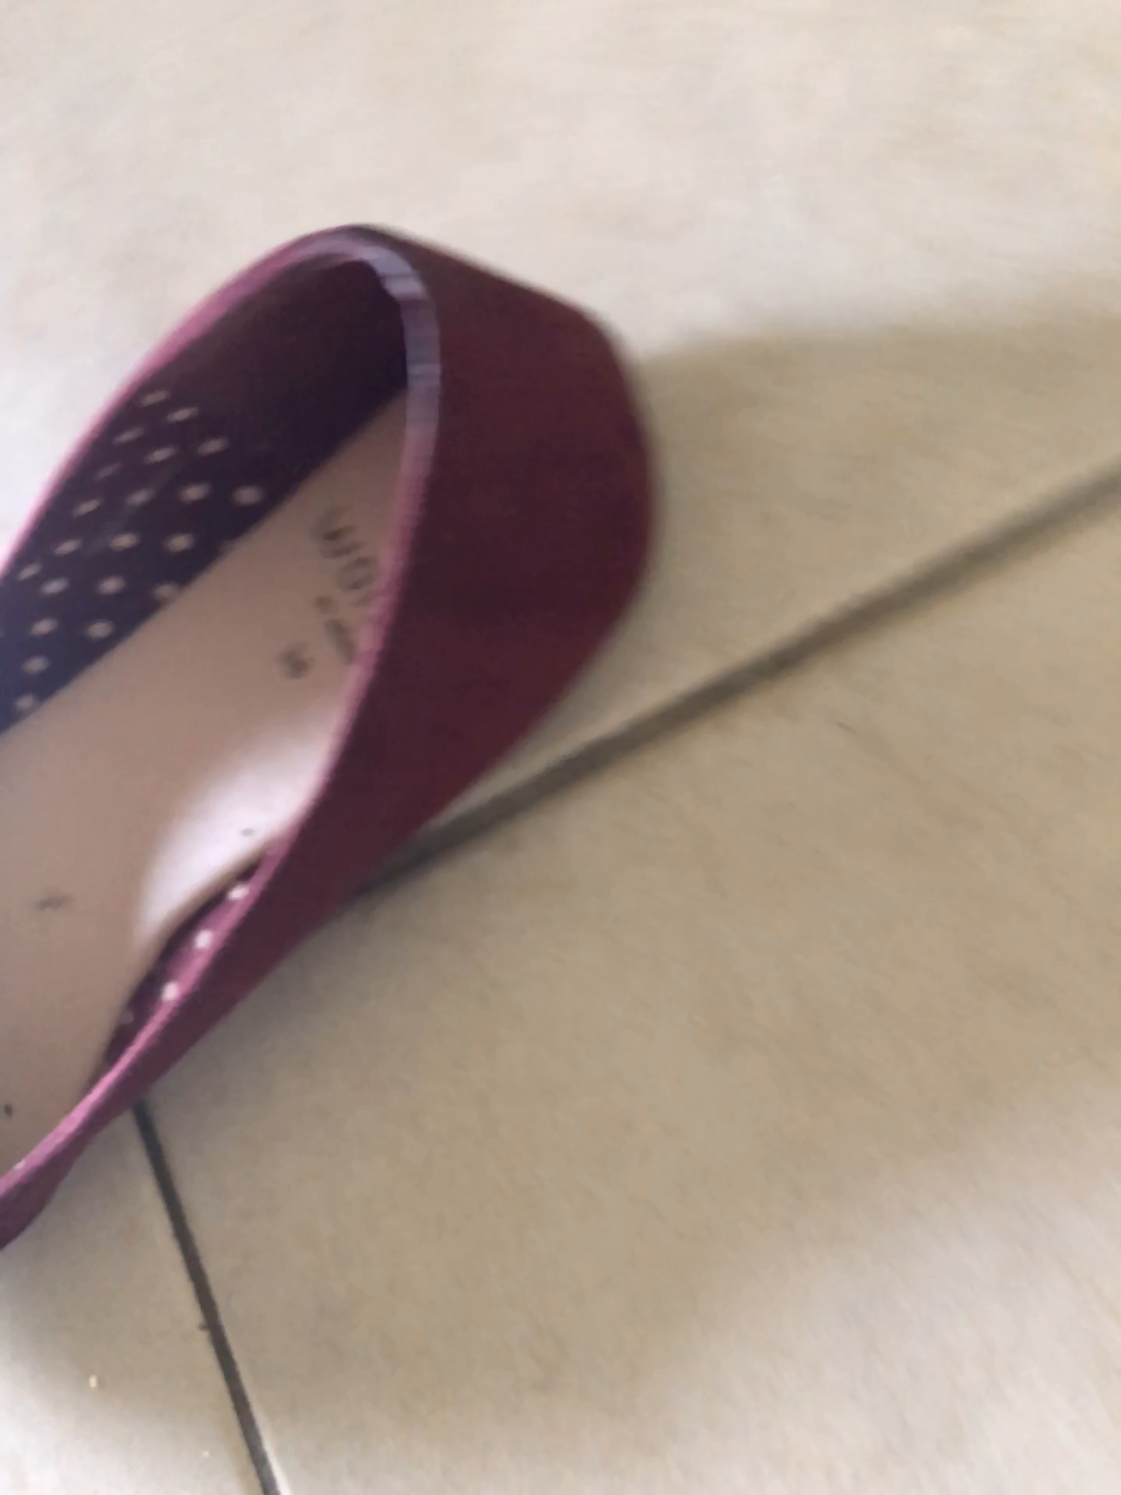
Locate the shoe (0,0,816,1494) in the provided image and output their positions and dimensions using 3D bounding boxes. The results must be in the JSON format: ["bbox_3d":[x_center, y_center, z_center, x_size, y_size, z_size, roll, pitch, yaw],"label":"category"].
[{"bbox_3d":[-0.093,0.021,0.204,0.250,0.080,0.082,-39,70,16],"label":"shoe"}]
